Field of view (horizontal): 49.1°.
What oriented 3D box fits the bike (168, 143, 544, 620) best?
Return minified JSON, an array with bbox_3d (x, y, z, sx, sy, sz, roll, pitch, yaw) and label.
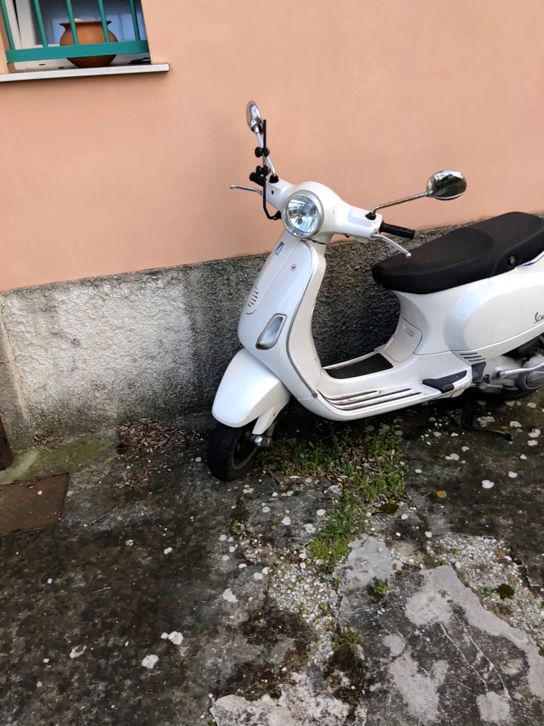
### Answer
[{"bbox_3d":[0.524,-0.053,2.163,1.658,1.085,0.647,-15,27,-16],"label":"bike"}]
